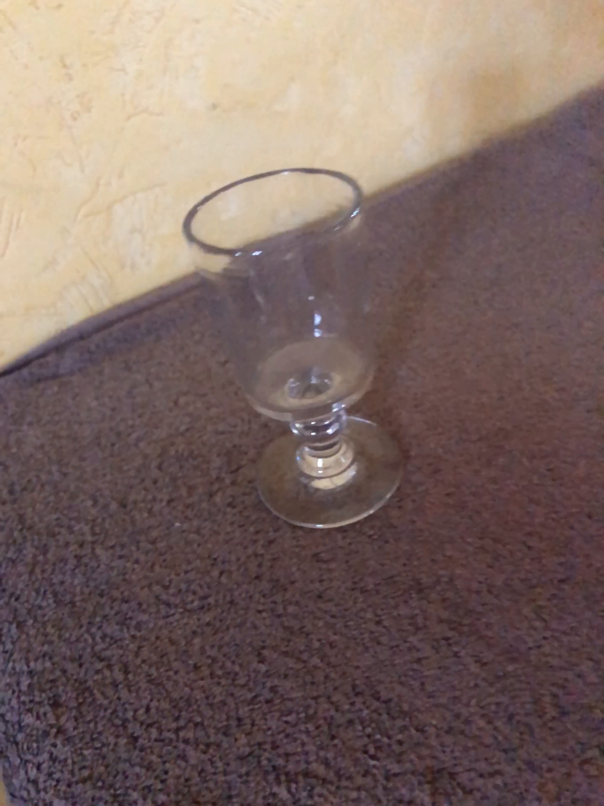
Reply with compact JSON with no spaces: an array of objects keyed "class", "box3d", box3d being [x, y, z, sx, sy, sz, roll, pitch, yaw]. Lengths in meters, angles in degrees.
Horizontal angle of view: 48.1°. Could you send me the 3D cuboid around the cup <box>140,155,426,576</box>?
[{"class":"cup","box3d":[-0.003,-0.010,0.221,0.060,0.109,0.060,-7,40,6]}]
